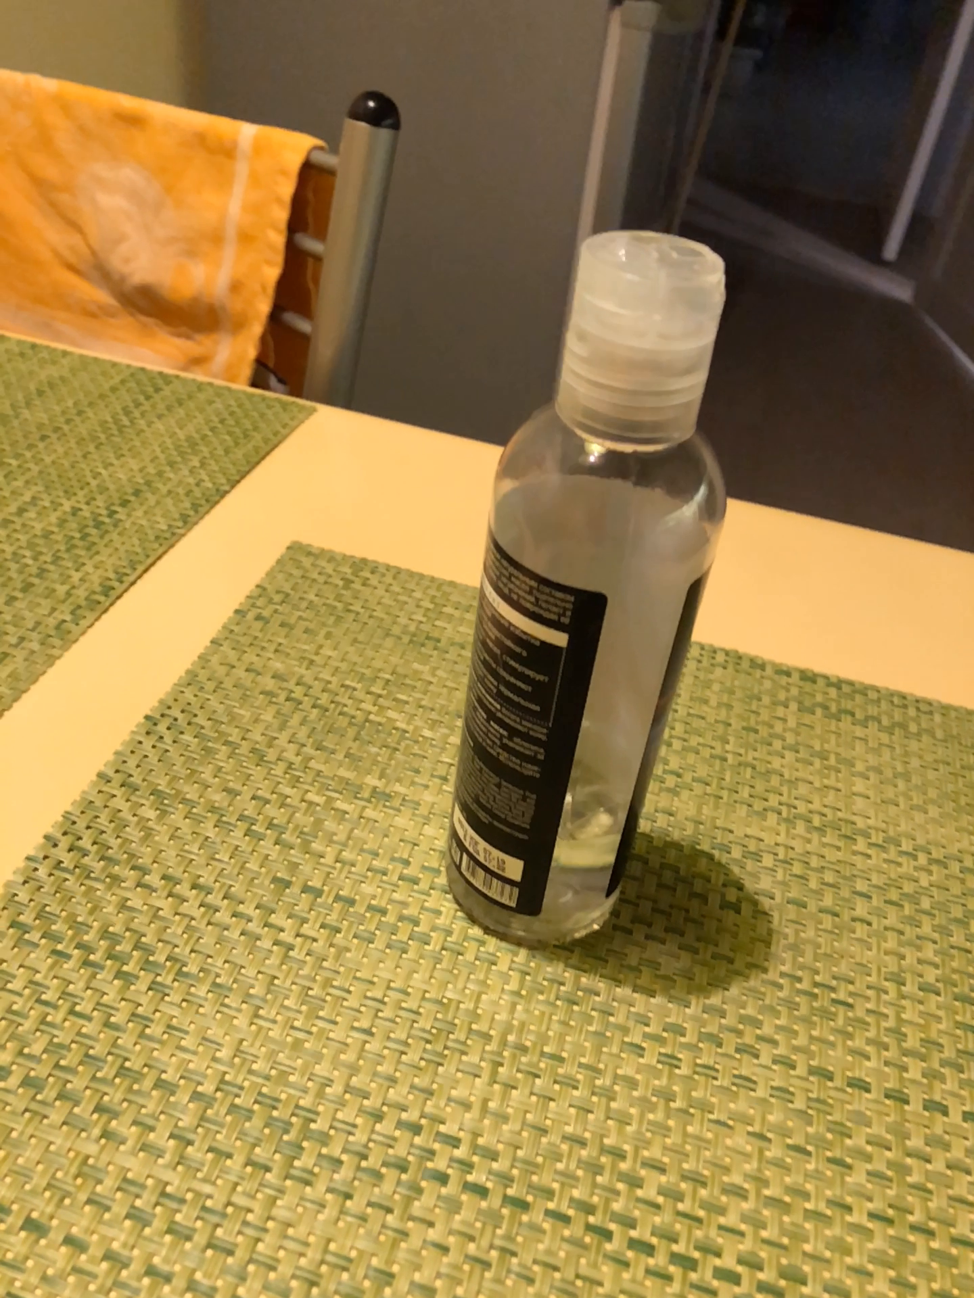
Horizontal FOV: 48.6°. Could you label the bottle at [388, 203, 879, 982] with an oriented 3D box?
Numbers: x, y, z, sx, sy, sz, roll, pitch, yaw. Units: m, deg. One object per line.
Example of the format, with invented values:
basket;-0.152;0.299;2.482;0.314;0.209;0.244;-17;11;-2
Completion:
bottle;0.019;-0.006;0.223;0.054;0.149;0.051;5;36;-4
